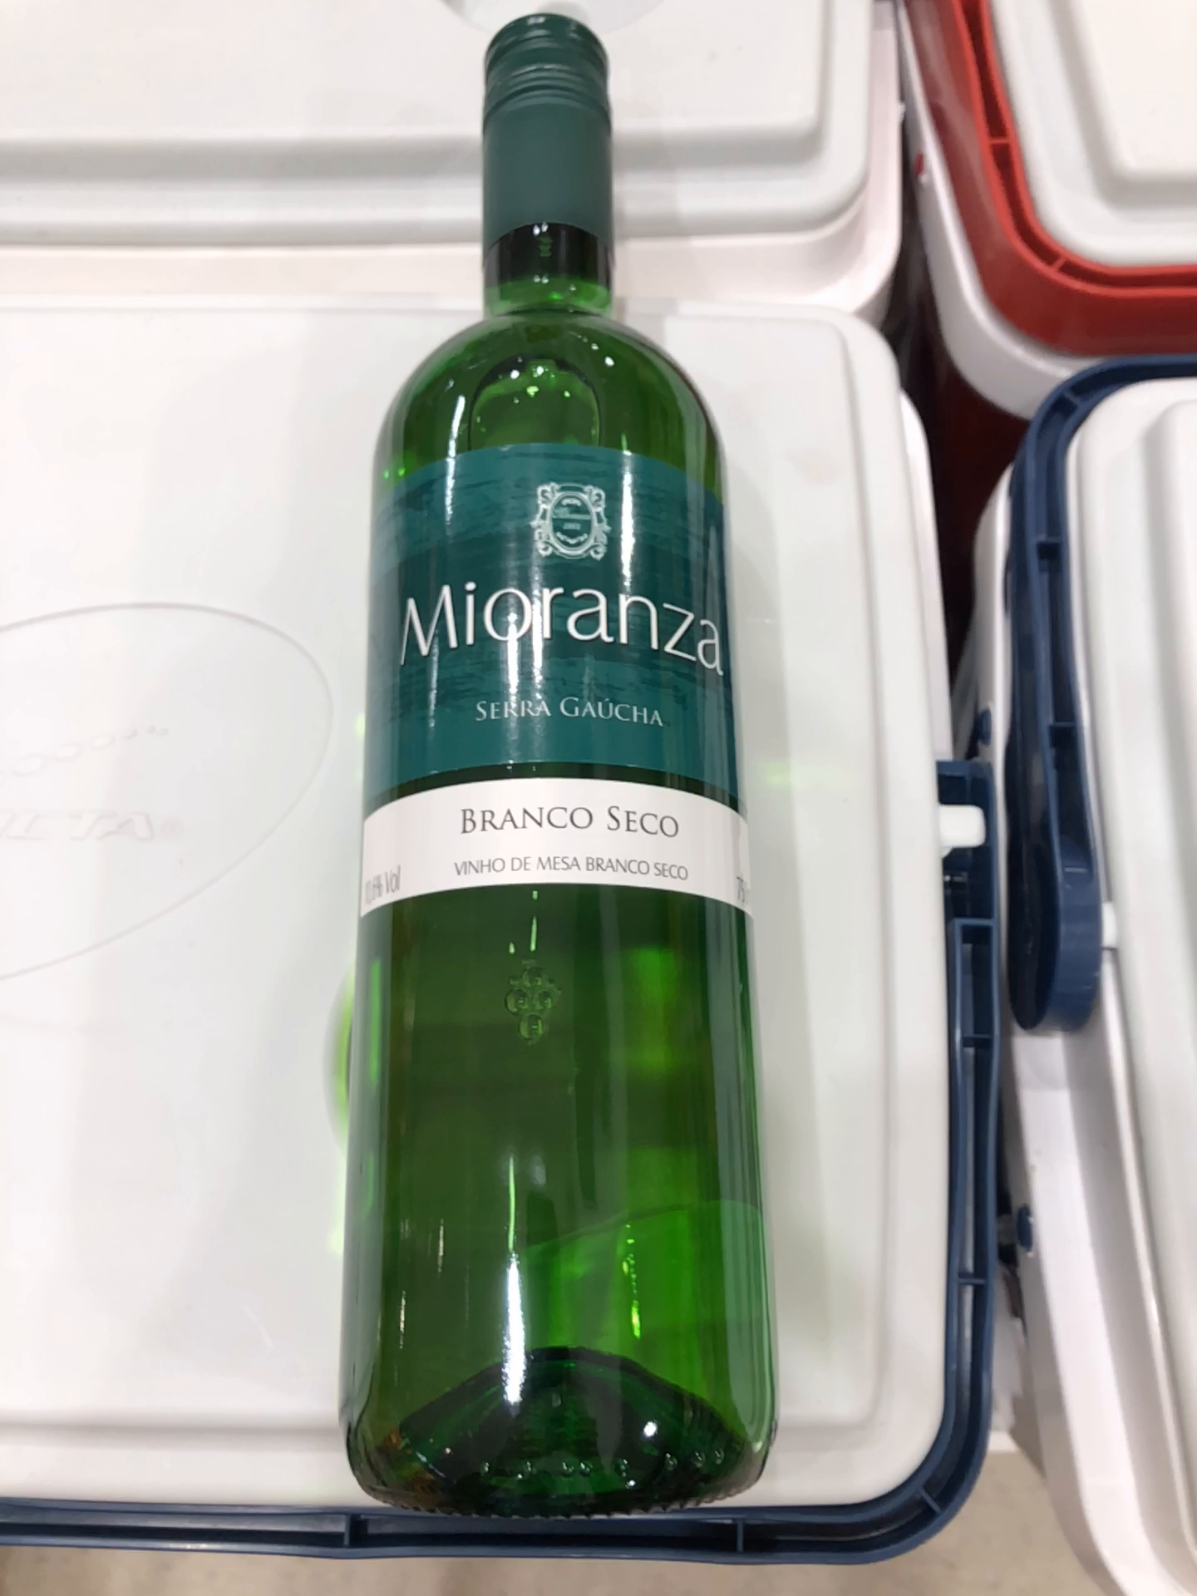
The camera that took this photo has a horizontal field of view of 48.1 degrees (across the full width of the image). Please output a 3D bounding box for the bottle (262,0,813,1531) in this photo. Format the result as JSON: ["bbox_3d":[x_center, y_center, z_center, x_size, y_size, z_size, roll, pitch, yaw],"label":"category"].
[{"bbox_3d":[-0.010,-0.053,0.287,0.080,0.070,0.361,-1,71,2],"label":"bottle"}]
